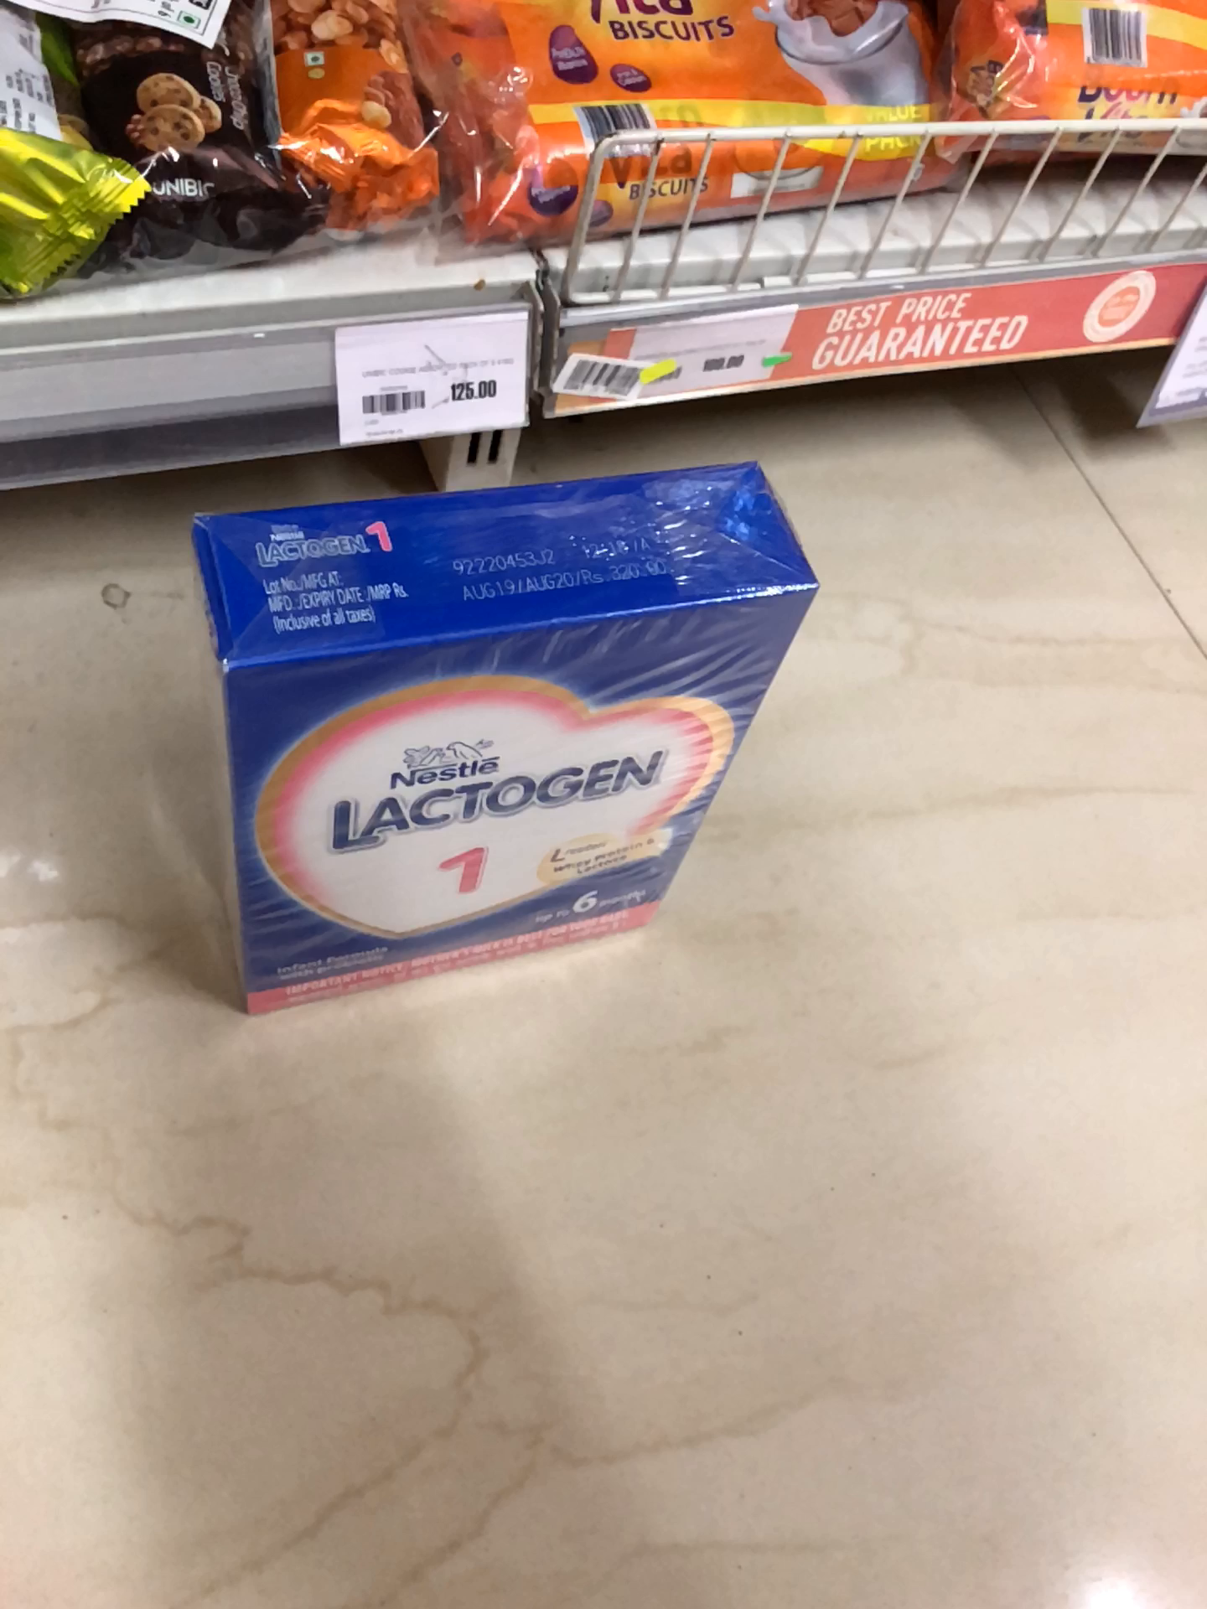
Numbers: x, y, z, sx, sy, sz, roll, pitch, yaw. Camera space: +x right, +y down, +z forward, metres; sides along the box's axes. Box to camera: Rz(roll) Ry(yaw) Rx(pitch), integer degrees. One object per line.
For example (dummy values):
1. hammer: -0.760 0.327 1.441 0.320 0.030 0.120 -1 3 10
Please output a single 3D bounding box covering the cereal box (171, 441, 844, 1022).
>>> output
1. cereal box: -0.038 -0.012 0.390 0.150 0.189 0.050 -11 63 -20
